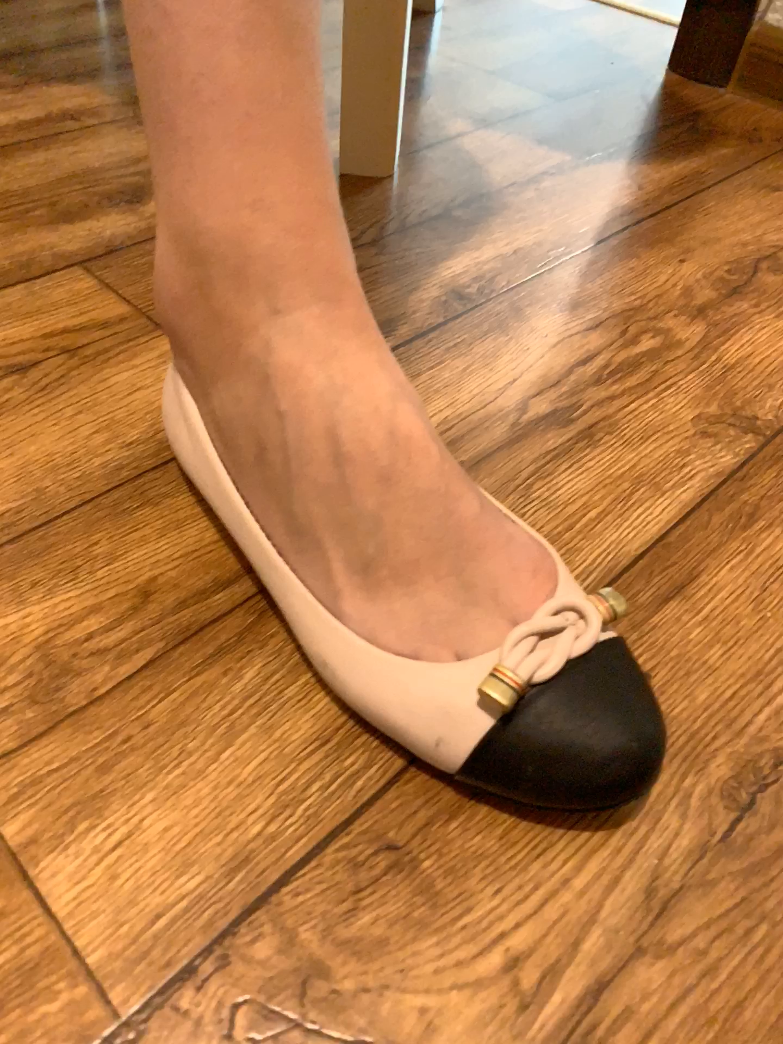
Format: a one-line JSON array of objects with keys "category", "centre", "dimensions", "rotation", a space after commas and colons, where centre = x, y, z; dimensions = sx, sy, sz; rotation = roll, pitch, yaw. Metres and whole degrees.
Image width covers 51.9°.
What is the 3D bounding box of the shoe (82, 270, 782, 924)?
[{"category": "shoe", "centre": [-0.004, 0.003, 0.263], "dimensions": [0.084, 0.059, 0.221], "rotation": [-31, 56, -30]}]
